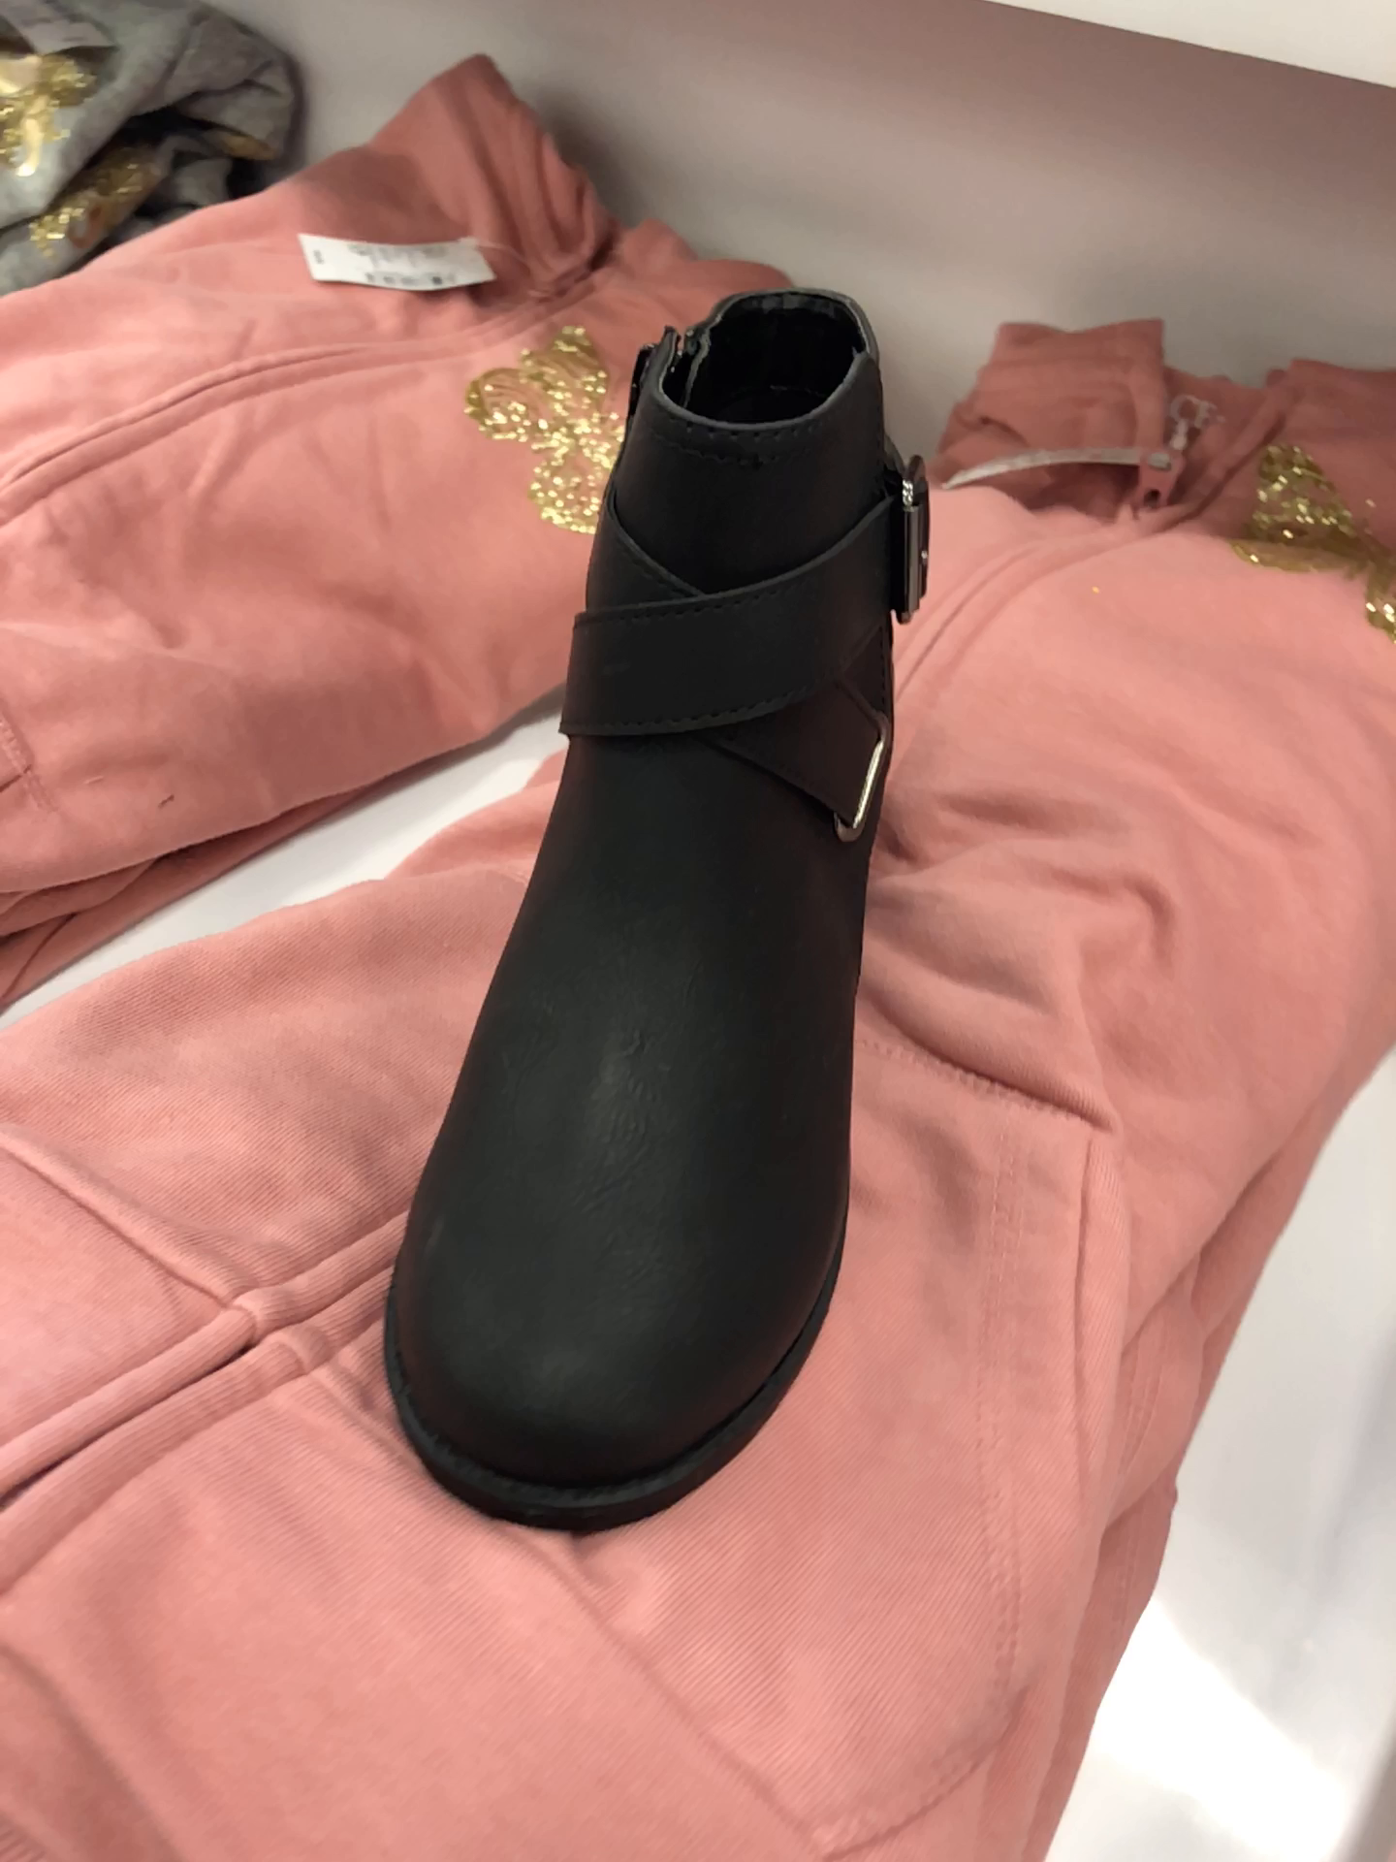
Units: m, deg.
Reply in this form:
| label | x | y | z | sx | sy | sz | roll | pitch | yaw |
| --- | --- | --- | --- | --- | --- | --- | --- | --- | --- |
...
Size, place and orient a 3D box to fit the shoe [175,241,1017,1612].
| label | x | y | z | sx | sy | sz | roll | pitch | yaw |
| --- | --- | --- | --- | --- | --- | --- | --- | --- | --- |
| shoe | 0.000 | -0.017 | 0.271 | 0.080 | 0.129 | 0.201 | 9 | 41 | 5 |
